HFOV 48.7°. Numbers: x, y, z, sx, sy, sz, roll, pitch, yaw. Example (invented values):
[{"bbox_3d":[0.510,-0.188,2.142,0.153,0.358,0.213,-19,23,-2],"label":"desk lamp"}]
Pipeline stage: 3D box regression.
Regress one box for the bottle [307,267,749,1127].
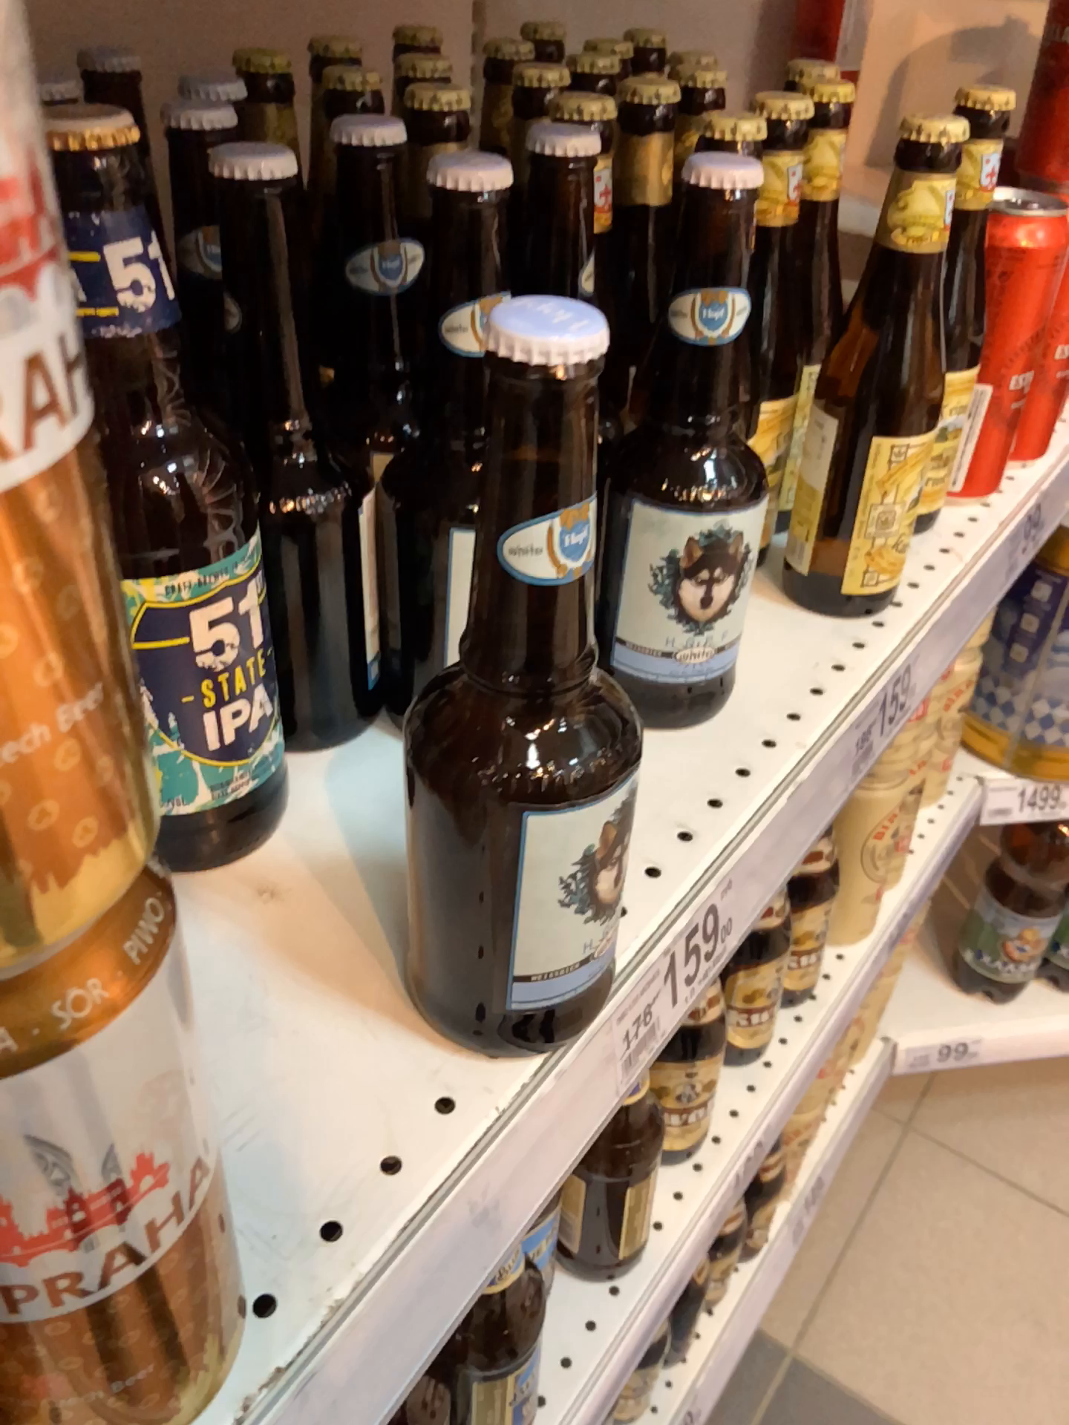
[{"bbox_3d":[-0.005,0.003,0.330,0.070,0.219,0.080,20,38,22],"label":"bottle"}]
